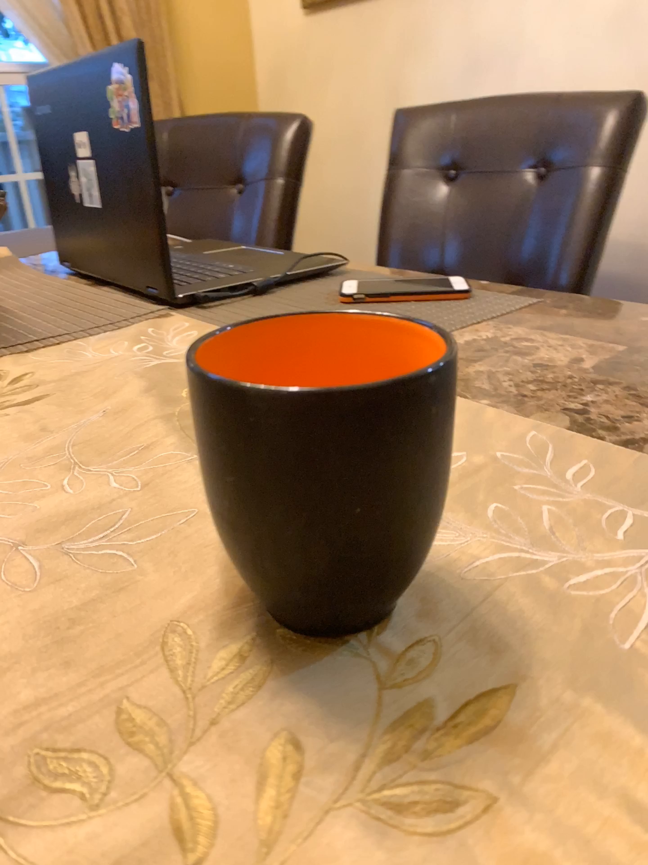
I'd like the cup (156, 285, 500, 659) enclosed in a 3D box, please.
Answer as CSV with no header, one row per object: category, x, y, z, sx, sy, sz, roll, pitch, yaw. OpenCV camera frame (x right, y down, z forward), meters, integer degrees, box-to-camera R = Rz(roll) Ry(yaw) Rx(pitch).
cup,-0.004,0.002,0.267,0.099,0.087,0.133,-6,24,-6
